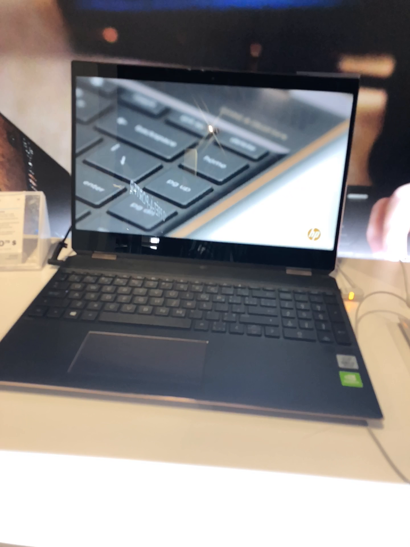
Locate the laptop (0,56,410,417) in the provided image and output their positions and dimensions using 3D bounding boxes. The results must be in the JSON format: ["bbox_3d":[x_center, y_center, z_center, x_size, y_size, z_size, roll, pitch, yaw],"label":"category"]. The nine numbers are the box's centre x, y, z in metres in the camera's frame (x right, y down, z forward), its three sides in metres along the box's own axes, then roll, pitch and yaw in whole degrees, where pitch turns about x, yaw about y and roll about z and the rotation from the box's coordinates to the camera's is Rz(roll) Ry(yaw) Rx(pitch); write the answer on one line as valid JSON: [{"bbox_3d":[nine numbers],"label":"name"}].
[{"bbox_3d":[-0.013,-0.074,0.449,0.332,0.226,0.323,5,27,1],"label":"laptop"}]
